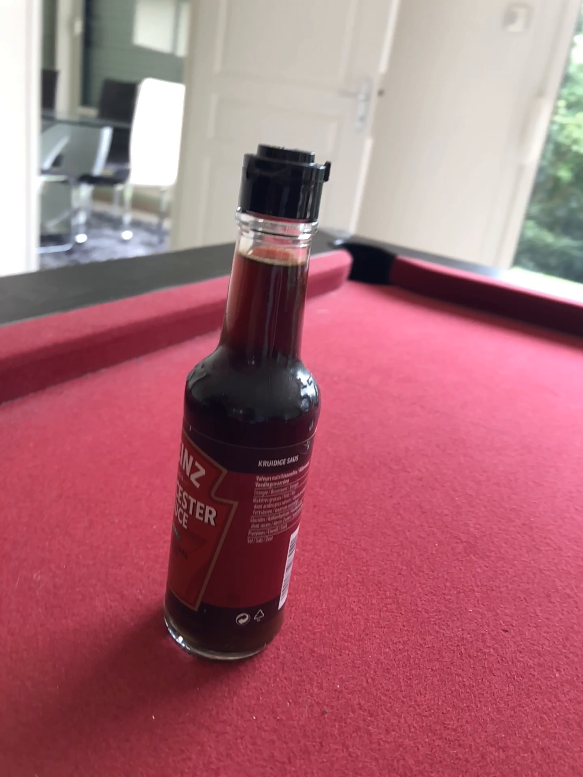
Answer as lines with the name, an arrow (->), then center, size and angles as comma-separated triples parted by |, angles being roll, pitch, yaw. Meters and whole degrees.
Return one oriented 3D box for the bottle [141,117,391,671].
bottle -> -0.017, 0.006, 0.226 | 0.050, 0.179, 0.050 | 8, 21, -3
